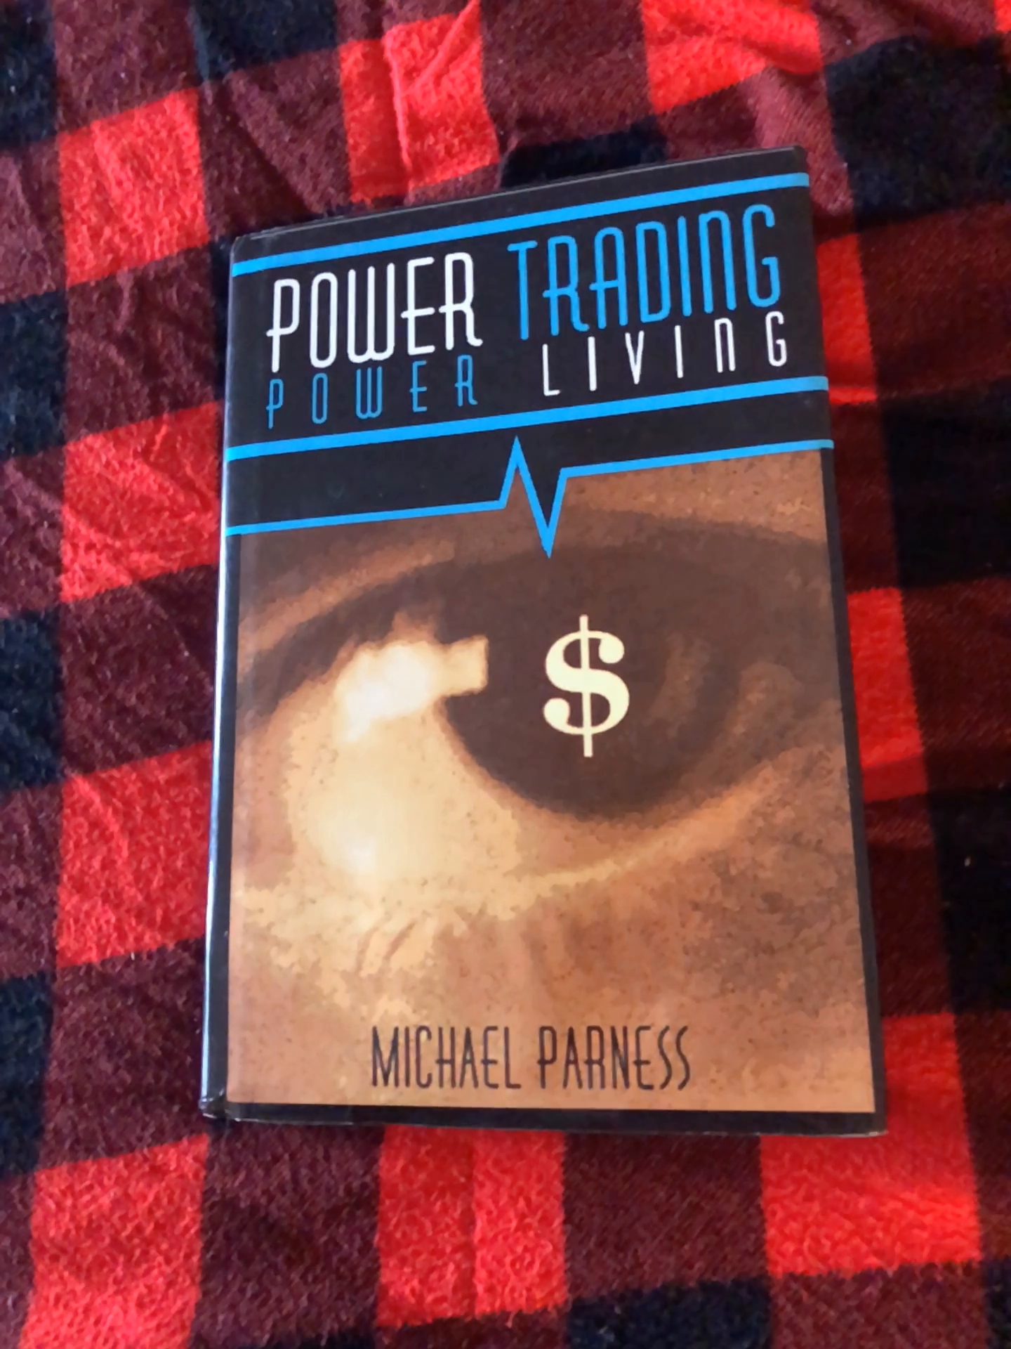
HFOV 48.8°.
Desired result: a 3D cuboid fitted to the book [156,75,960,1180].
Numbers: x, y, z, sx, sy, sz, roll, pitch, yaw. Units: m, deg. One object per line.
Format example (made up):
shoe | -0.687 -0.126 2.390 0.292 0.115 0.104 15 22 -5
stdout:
book | 0.006 -0.012 0.273 0.170 0.040 0.240 -4 79 12
